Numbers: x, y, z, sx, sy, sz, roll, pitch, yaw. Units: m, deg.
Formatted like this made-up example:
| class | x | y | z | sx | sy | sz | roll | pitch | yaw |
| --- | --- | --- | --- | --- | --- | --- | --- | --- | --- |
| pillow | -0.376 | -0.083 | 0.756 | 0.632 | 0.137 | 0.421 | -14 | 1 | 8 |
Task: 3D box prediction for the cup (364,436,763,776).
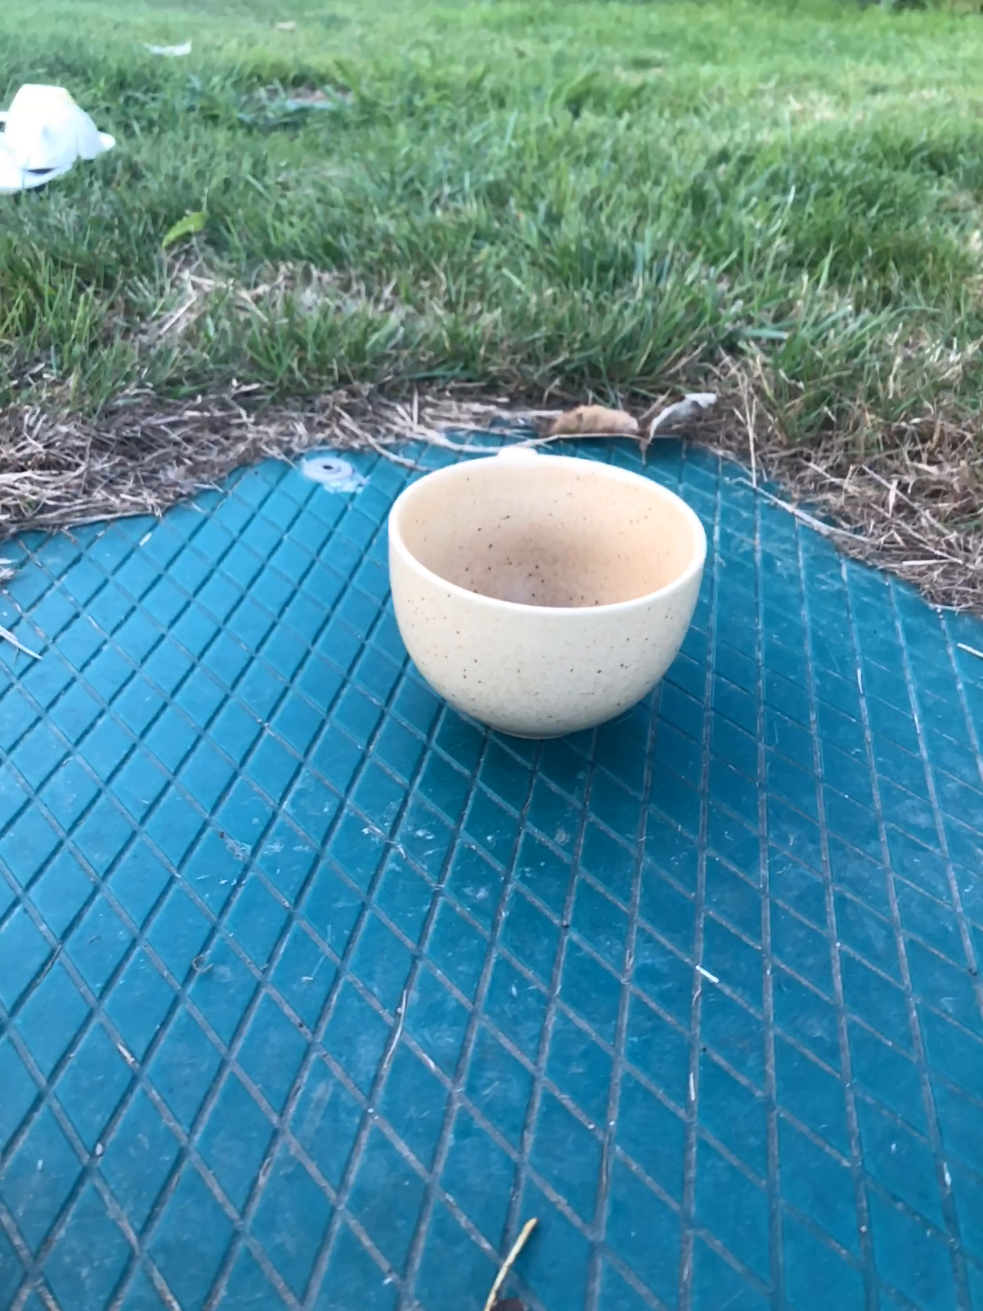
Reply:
| class | x | y | z | sx | sy | sz | roll | pitch | yaw |
| --- | --- | --- | --- | --- | --- | --- | --- | --- | --- |
| cup | 0.016 | -0.027 | 0.423 | 0.124 | 0.065 | 0.143 | -2 | 33 | -9 |
